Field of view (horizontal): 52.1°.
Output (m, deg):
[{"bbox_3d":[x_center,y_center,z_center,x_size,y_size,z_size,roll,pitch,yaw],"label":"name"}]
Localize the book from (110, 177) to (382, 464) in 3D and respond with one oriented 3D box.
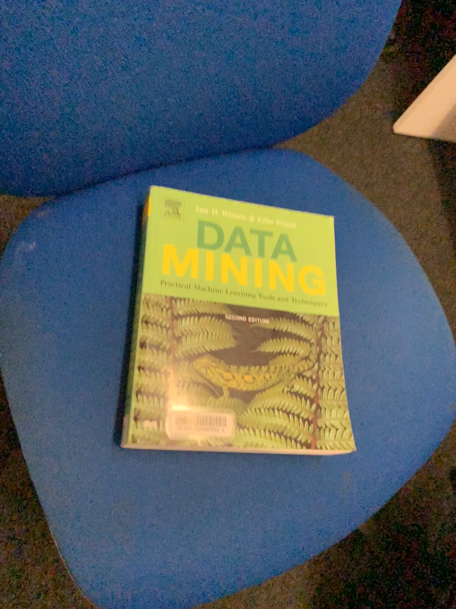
[{"bbox_3d":[0.018,0.016,0.429,0.220,0.050,0.241,6,69,-14],"label":"book"}]
